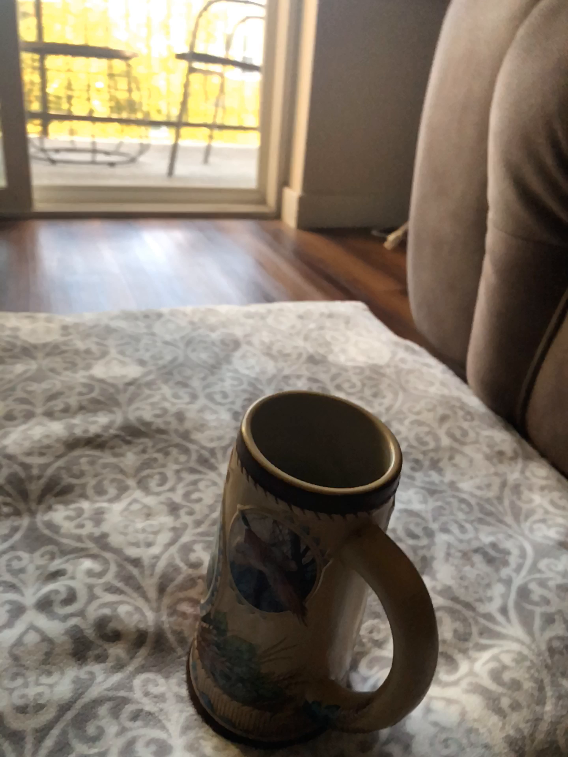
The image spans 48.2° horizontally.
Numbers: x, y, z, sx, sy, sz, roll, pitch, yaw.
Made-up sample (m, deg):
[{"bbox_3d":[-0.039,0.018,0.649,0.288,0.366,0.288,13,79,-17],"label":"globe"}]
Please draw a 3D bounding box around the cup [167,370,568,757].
[{"bbox_3d":[0.026,0.122,0.331,0.099,0.188,0.145,-17,42,-37],"label":"cup"}]
